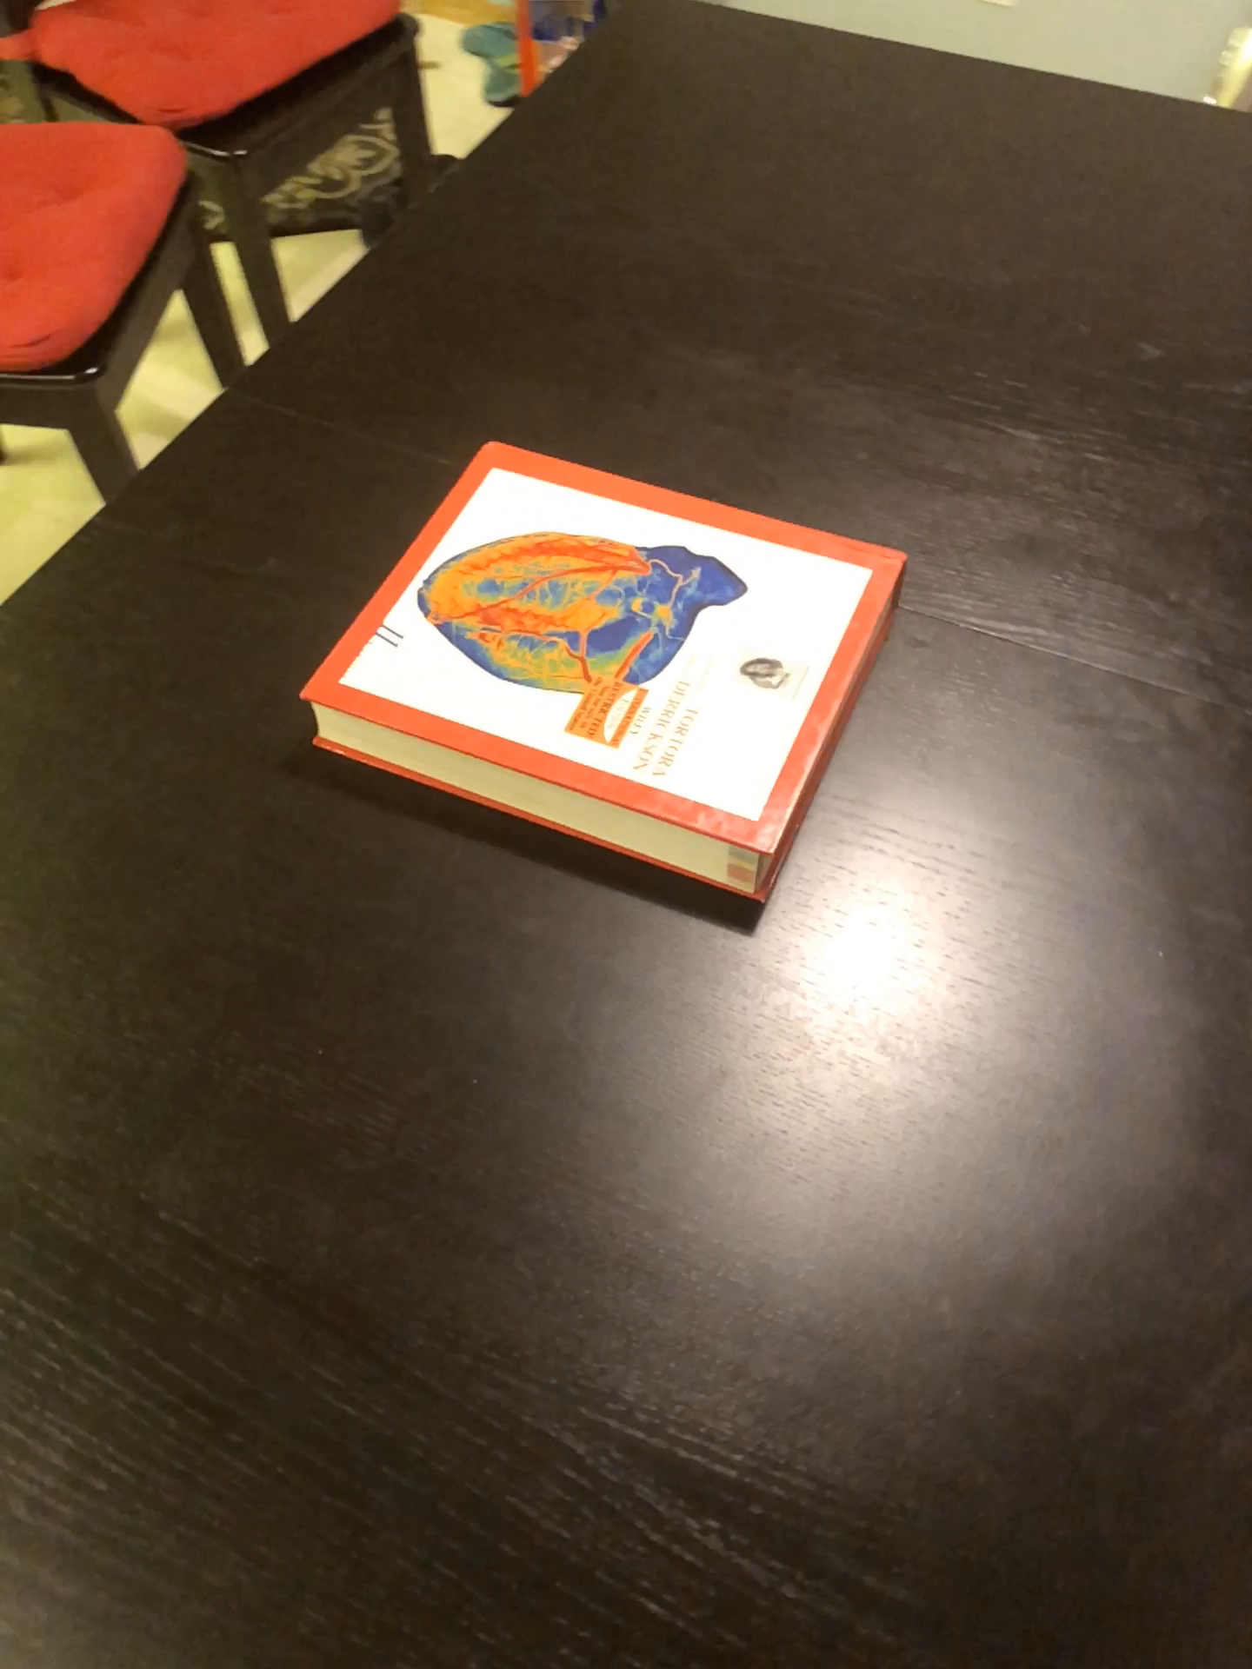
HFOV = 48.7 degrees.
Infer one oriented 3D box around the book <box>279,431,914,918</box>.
[{"bbox_3d":[-0.010,-0.110,0.821,0.290,0.050,0.251,19,57,14],"label":"book"}]
